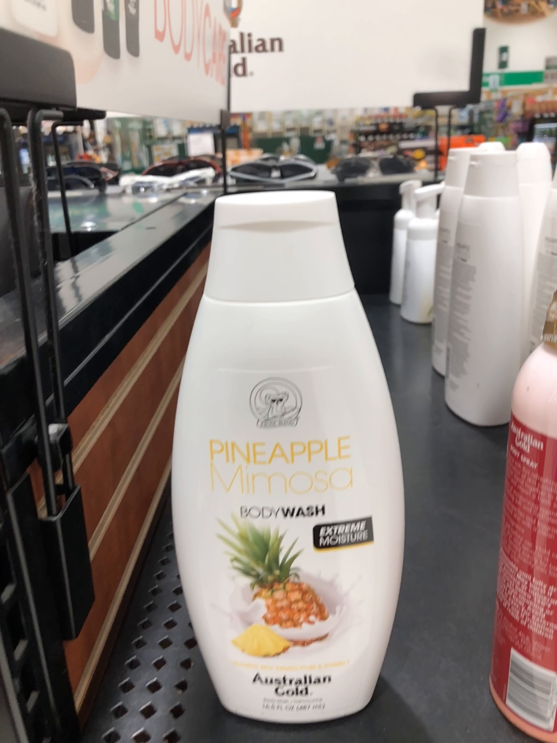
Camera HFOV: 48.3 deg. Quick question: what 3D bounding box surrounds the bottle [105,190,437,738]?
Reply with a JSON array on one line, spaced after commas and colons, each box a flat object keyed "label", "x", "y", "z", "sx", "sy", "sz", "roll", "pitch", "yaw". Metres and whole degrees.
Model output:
[{"label": "bottle", "x": 0.003, "y": 0.042, "z": 0.251, "sx": 0.100, "sy": 0.214, "sz": 0.060, "roll": -2, "pitch": 20, "yaw": 3}]
